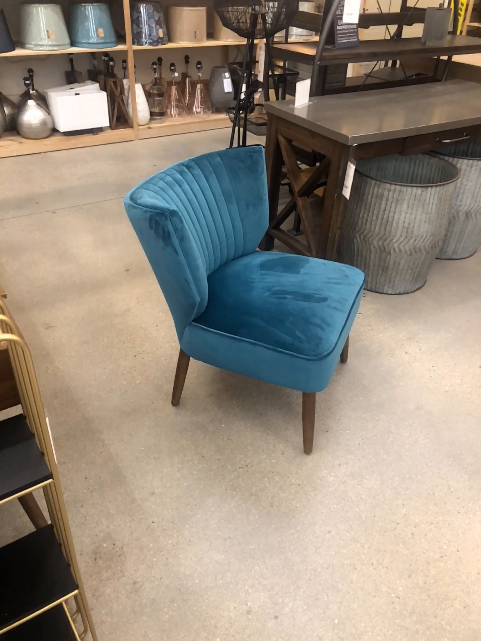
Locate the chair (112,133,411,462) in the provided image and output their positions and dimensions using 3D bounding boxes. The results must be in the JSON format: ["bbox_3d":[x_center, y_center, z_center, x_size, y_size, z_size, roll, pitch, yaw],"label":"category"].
[{"bbox_3d":[0.094,-0.121,1.667,0.660,0.676,0.663,14,36,16],"label":"chair"}]
